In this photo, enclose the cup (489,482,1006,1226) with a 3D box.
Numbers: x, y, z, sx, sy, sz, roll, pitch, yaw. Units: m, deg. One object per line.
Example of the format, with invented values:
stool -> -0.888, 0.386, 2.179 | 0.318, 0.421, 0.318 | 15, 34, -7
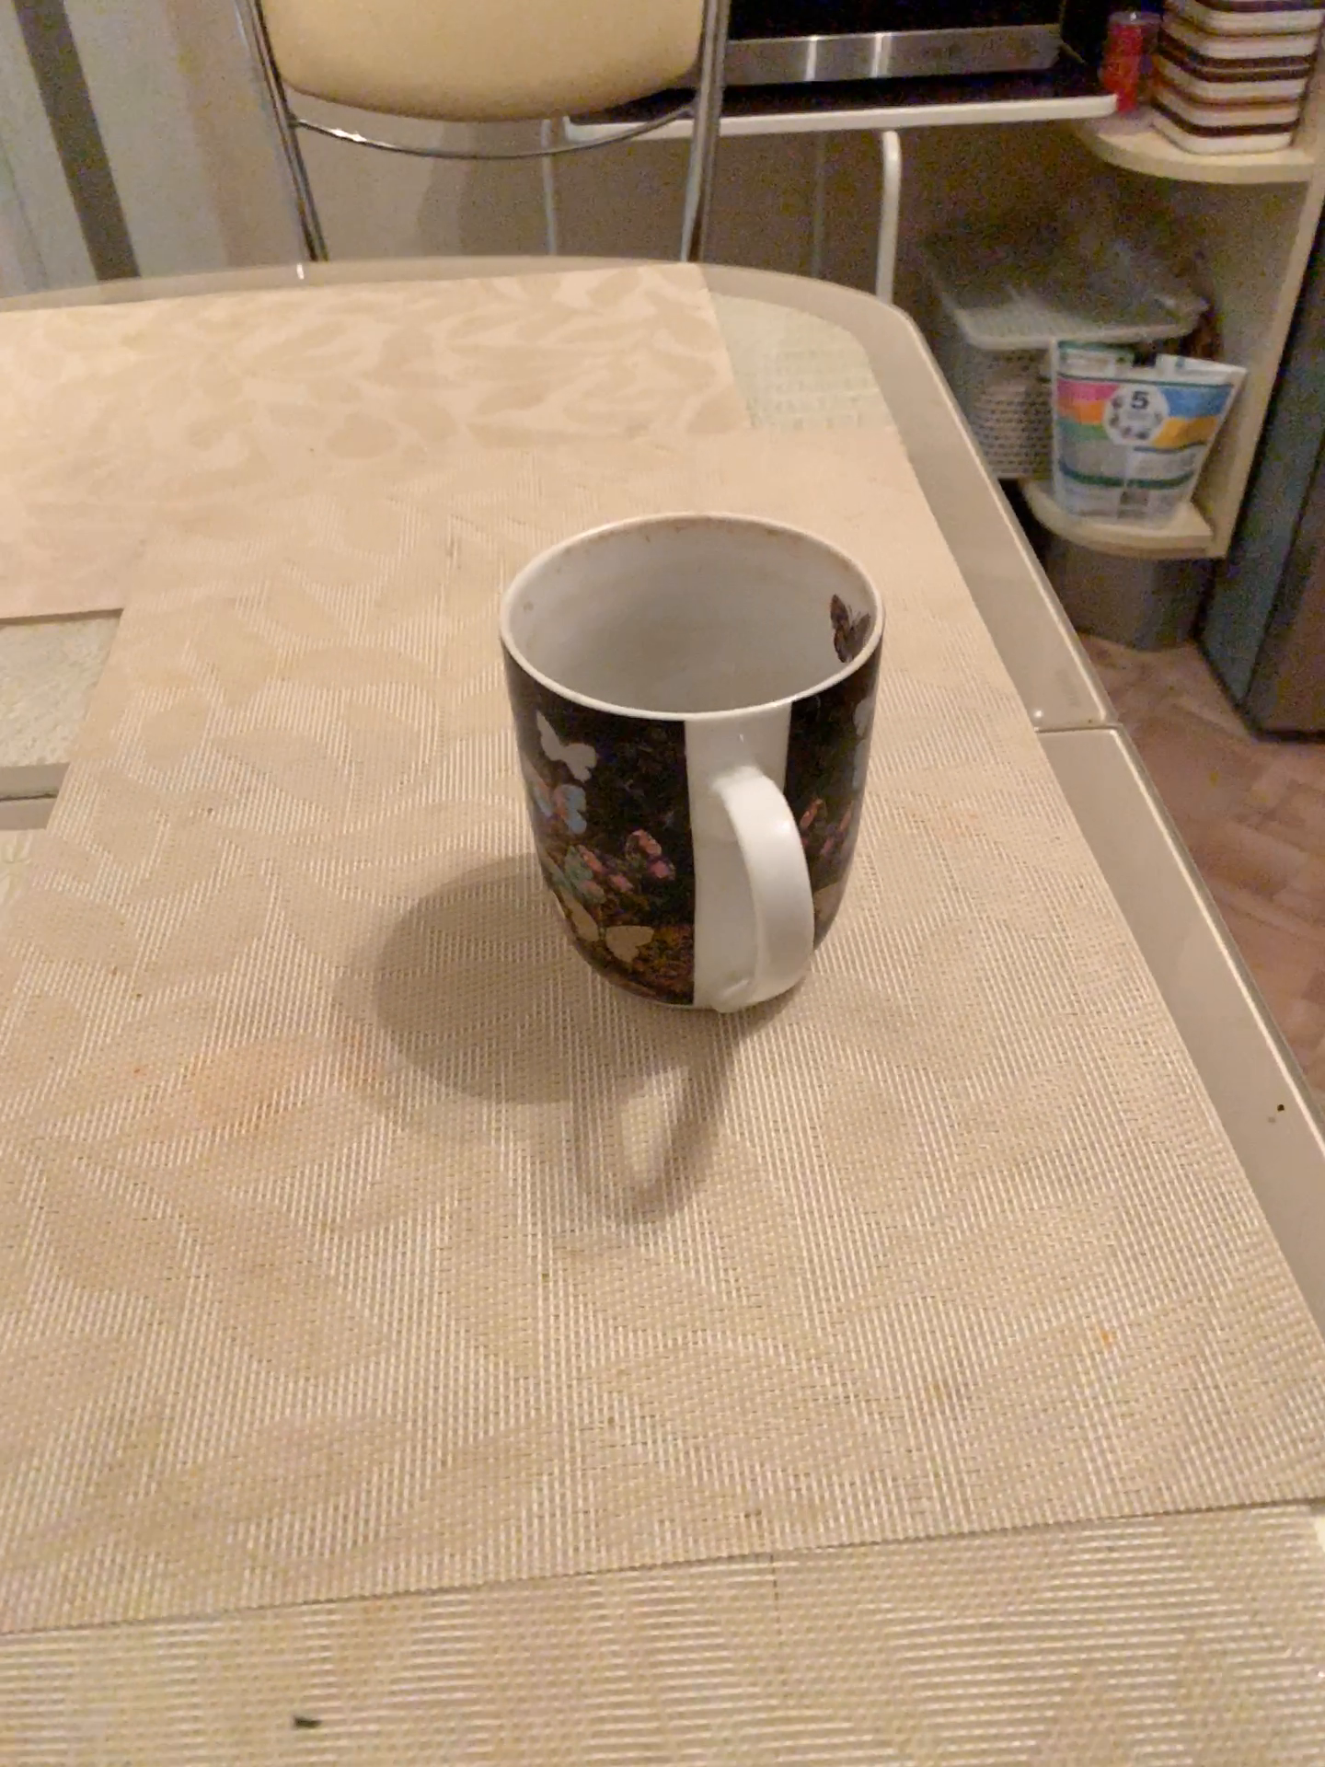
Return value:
cup -> 0.010, -0.011, 0.301 | 0.081, 0.097, 0.127 | -6, 43, -4
